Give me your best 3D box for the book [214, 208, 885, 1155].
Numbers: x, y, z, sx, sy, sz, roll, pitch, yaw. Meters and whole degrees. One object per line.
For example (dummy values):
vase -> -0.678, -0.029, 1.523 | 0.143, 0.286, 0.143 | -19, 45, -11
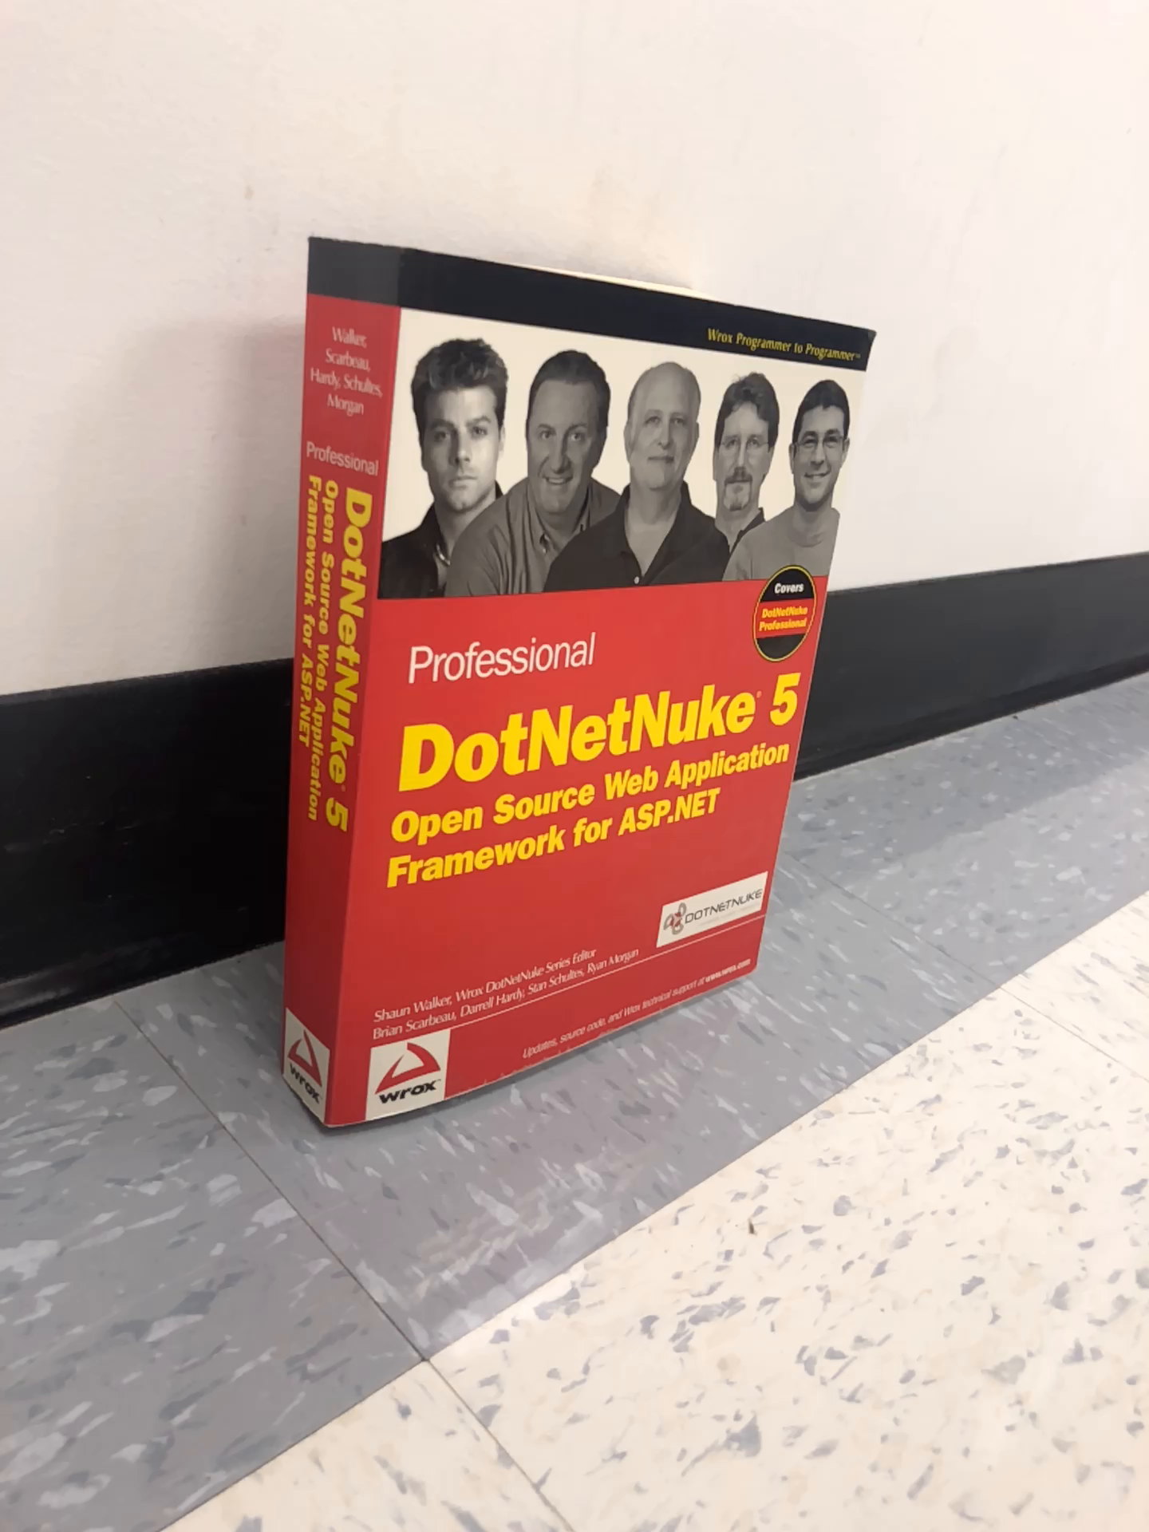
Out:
book -> -0.004, -0.031, 0.415 | 0.211, 0.249, 0.060 | -10, 23, -43
